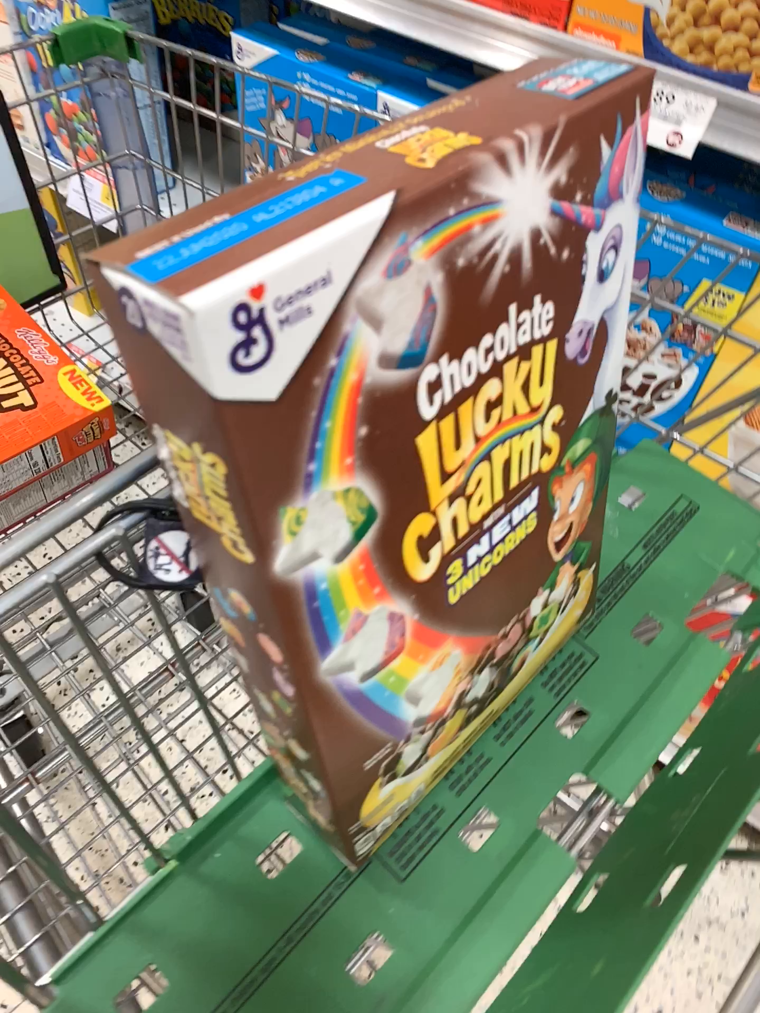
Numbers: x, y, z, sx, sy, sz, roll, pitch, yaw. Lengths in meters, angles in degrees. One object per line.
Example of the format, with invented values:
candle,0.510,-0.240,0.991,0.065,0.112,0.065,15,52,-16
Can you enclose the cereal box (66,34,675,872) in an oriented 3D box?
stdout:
cereal box,0.024,-0.002,0.326,0.050,0.297,0.201,31,55,34
